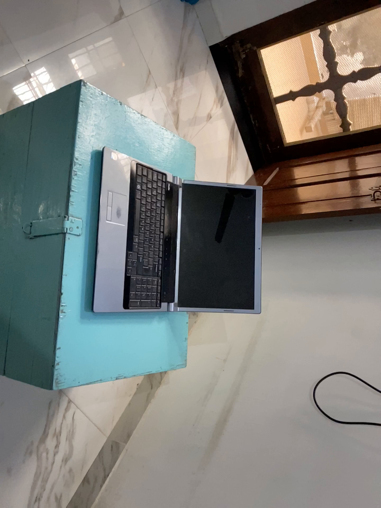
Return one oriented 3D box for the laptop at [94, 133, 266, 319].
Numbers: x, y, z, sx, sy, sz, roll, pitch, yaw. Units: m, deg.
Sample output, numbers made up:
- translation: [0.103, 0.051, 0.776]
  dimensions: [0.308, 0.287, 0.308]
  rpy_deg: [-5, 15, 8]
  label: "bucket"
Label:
- translation: [0.007, -0.037, 1.039]
  dimensions: [0.481, 0.178, 0.389]
  rpy_deg: [10, 80, -52]
  label: "laptop"
